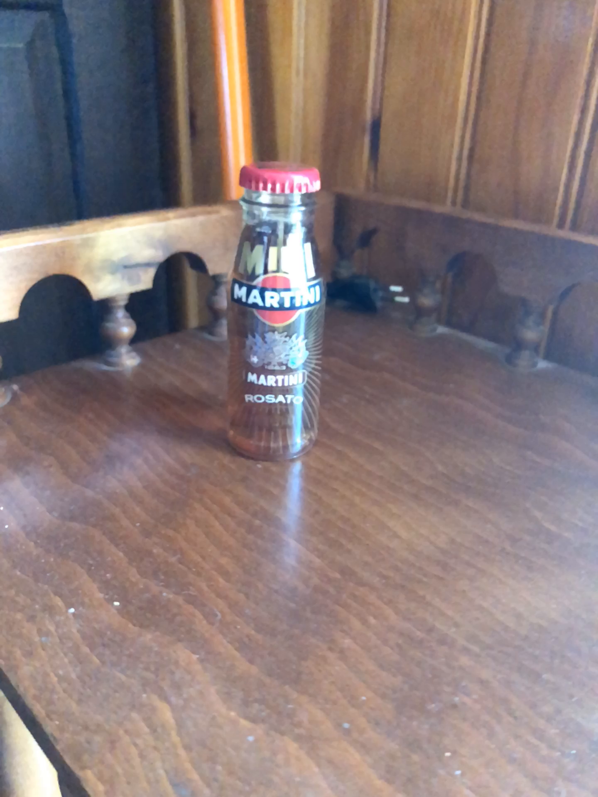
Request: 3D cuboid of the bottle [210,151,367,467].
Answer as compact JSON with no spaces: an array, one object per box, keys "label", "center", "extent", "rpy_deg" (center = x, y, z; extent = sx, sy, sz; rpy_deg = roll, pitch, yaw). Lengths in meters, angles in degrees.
[{"label":"bottle","center":[-0.005,-0.034,0.261],"extent":[0.050,0.109,0.050],"rpy_deg":[2,27,-1]}]
